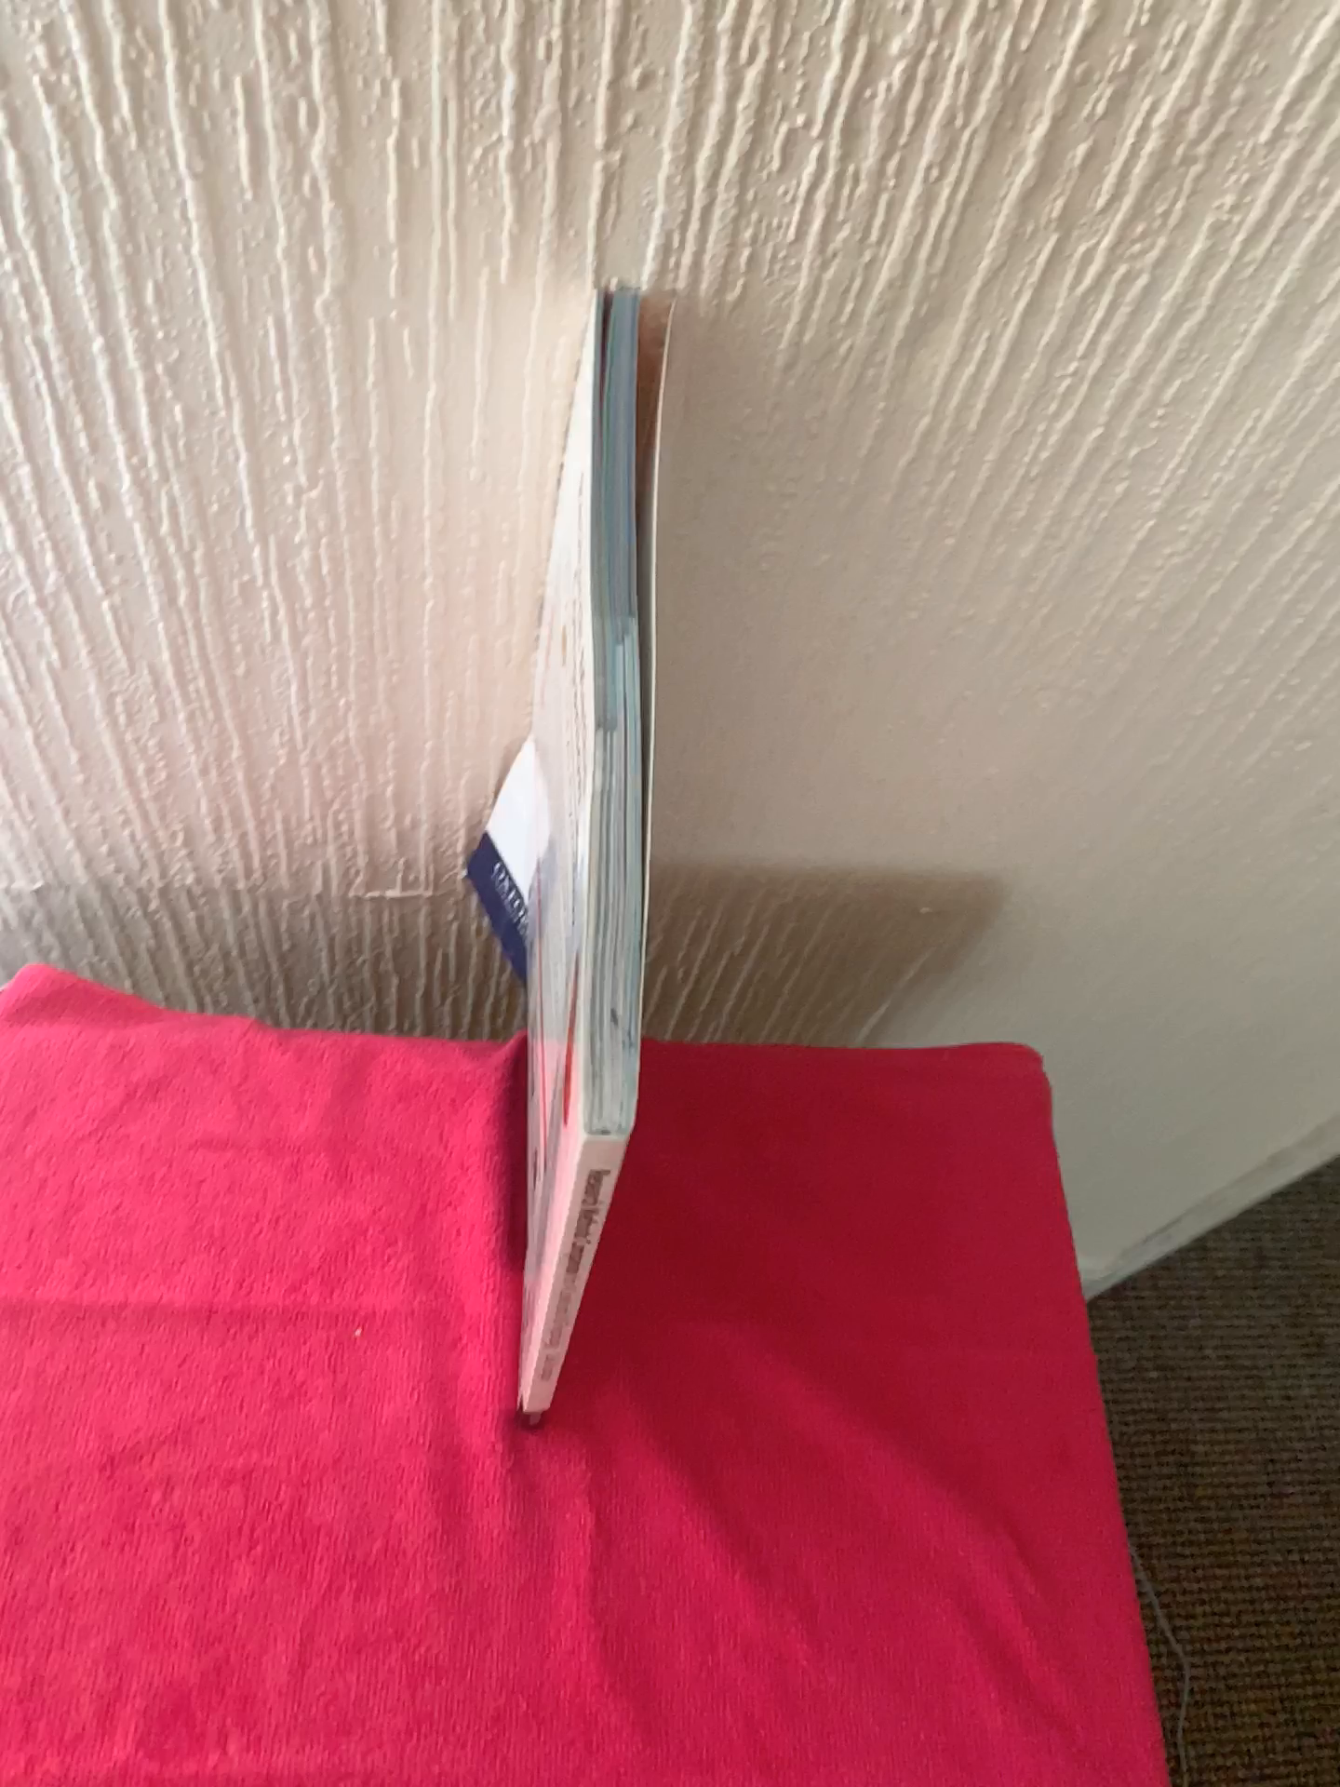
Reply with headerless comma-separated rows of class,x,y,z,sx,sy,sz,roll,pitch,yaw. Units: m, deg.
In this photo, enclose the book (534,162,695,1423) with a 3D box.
book,-0.020,-0.002,0.404,0.020,0.288,0.252,4,60,-4
